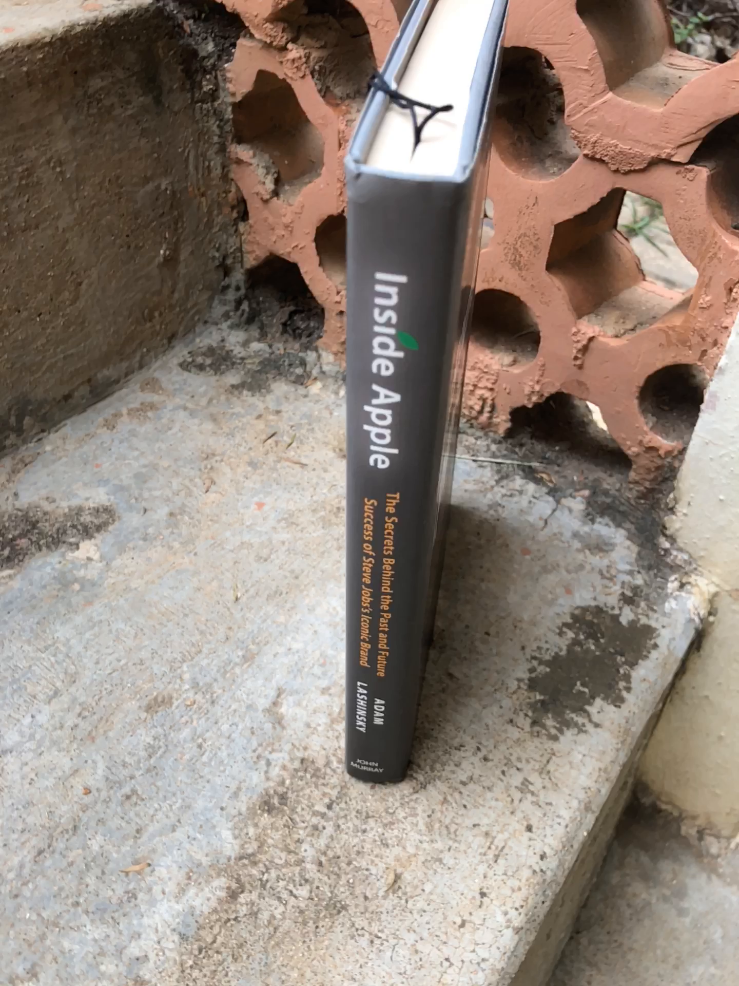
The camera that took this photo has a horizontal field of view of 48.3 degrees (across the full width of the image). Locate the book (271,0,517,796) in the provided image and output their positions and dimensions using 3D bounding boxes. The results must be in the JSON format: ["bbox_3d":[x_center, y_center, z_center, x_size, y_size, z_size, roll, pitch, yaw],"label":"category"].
[{"bbox_3d":[0.015,-0.031,0.288,0.040,0.219,0.171,6,43,7],"label":"book"}]
